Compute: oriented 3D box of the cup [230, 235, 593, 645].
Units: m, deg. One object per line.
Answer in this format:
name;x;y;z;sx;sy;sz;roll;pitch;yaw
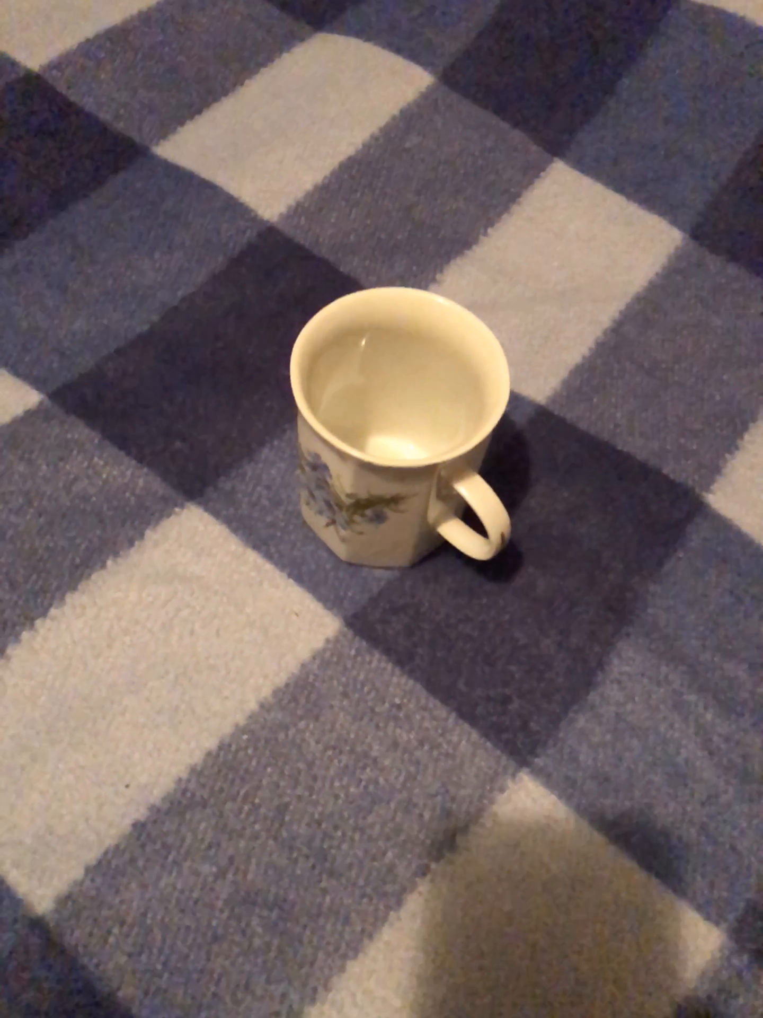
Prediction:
cup;0.008;-0.024;0.323;0.077;0.094;0.098;-33;67;-18
